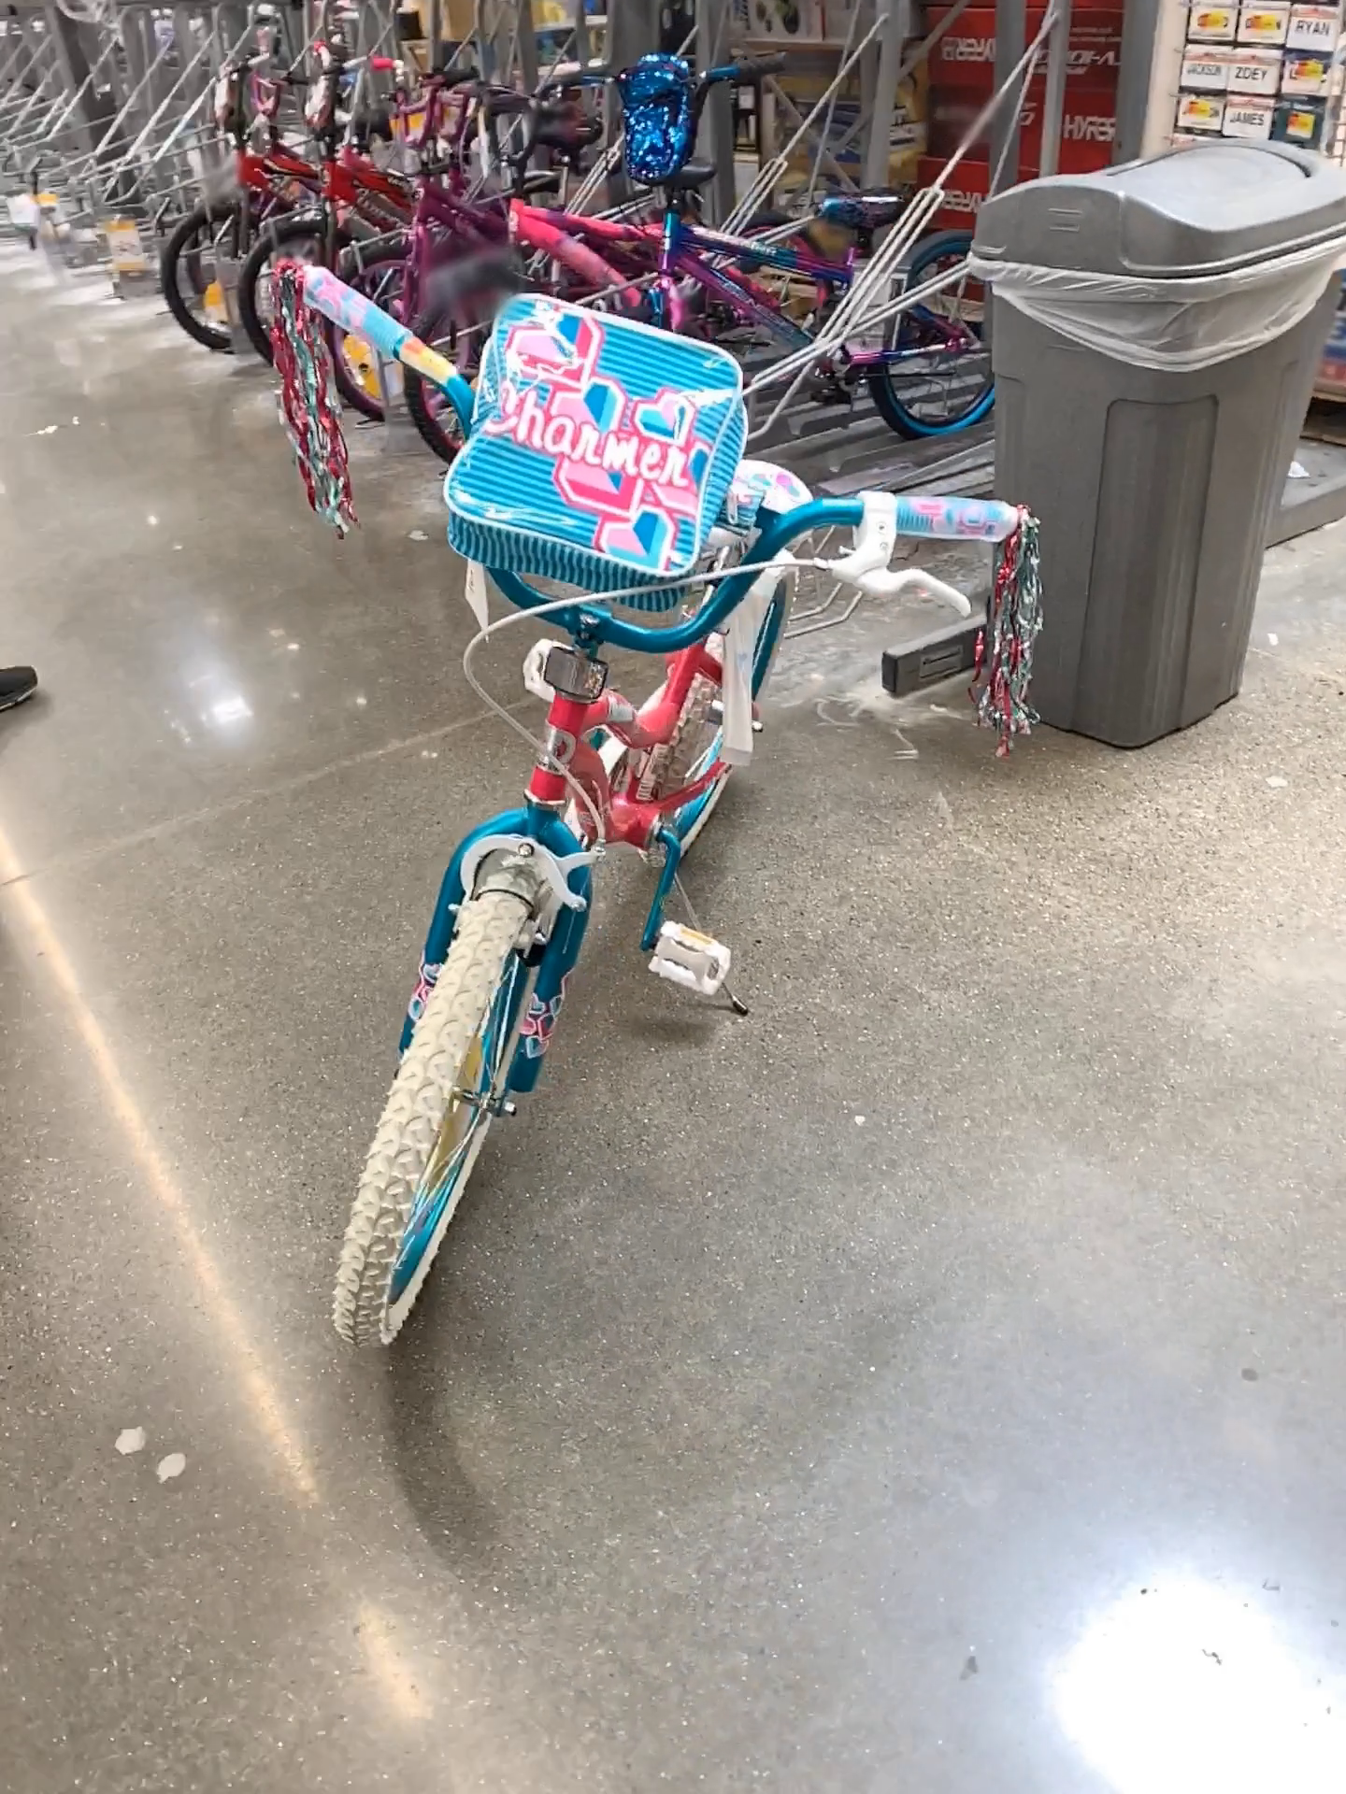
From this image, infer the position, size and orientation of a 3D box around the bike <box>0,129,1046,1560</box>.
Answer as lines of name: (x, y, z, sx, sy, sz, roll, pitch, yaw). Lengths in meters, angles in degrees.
bike: (-0.045, -0.181, 1.549, 0.652, 0.929, 1.267, 7, 39, 18)
